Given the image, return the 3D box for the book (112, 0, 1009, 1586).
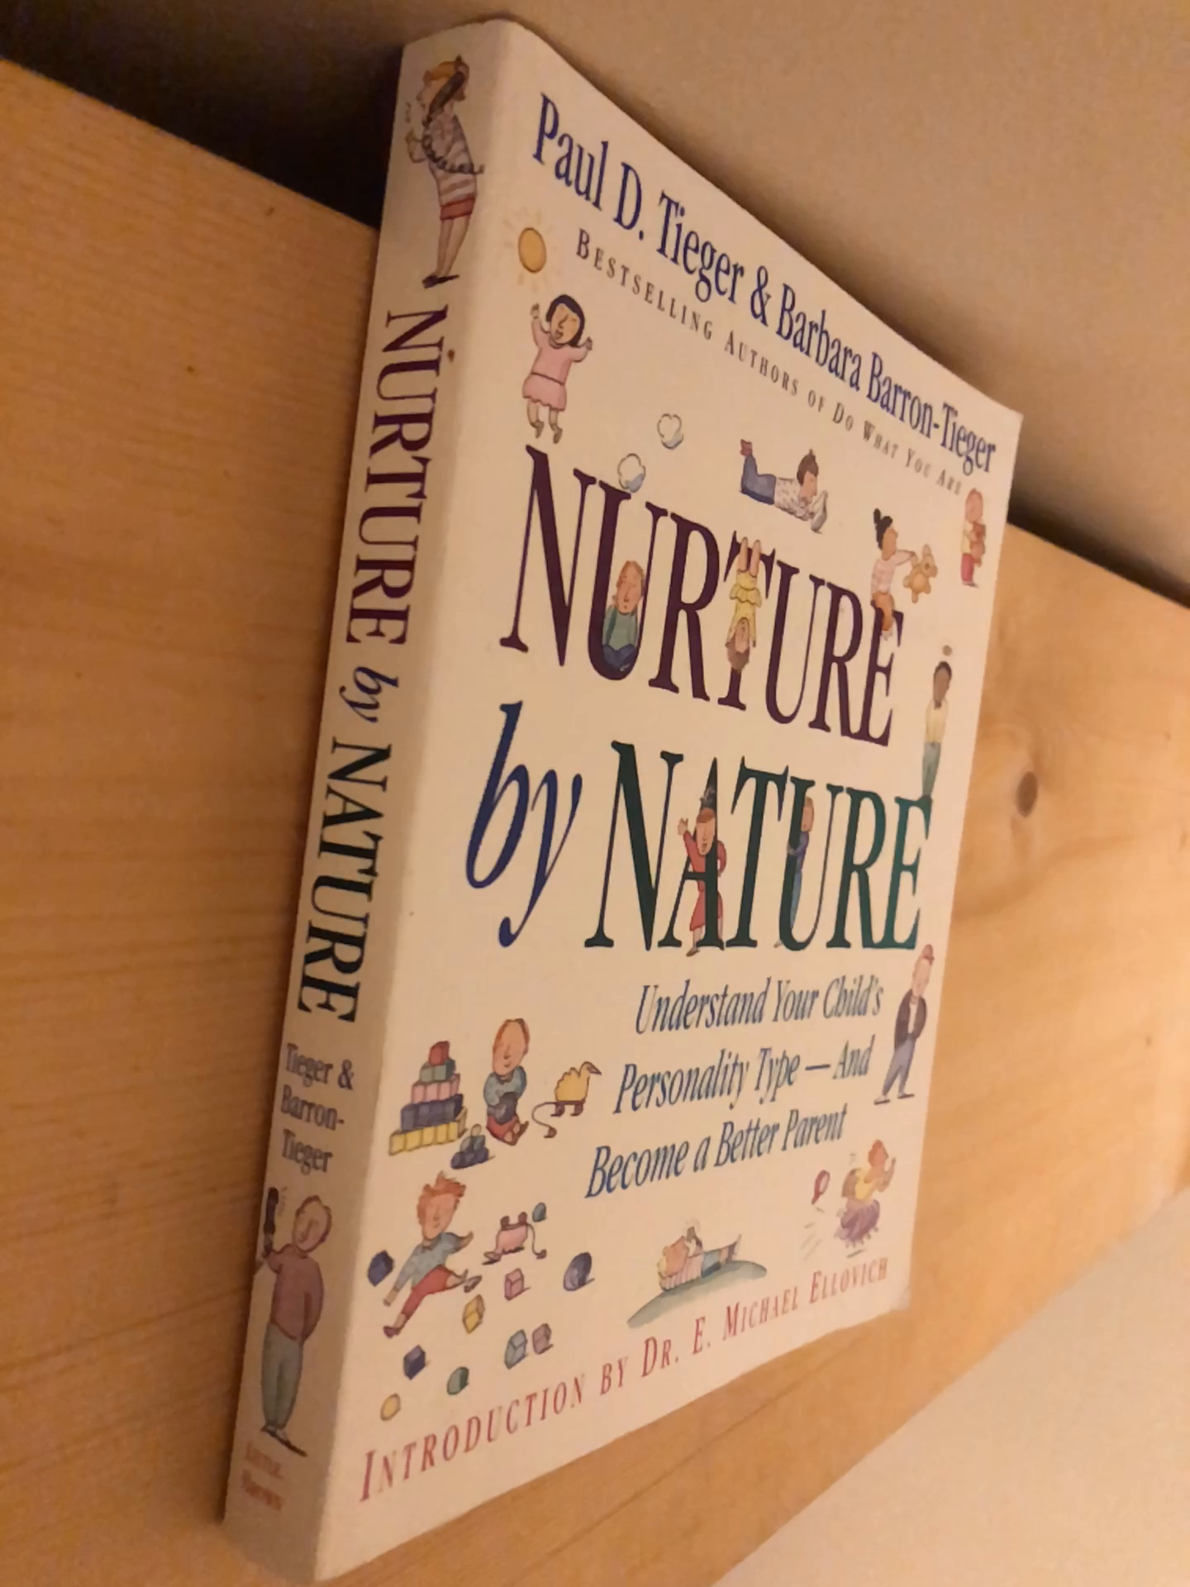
[{"bbox_3d":[0.017,0.004,0.272,0.201,0.040,0.250,8,88,-52],"label":"book"}]
